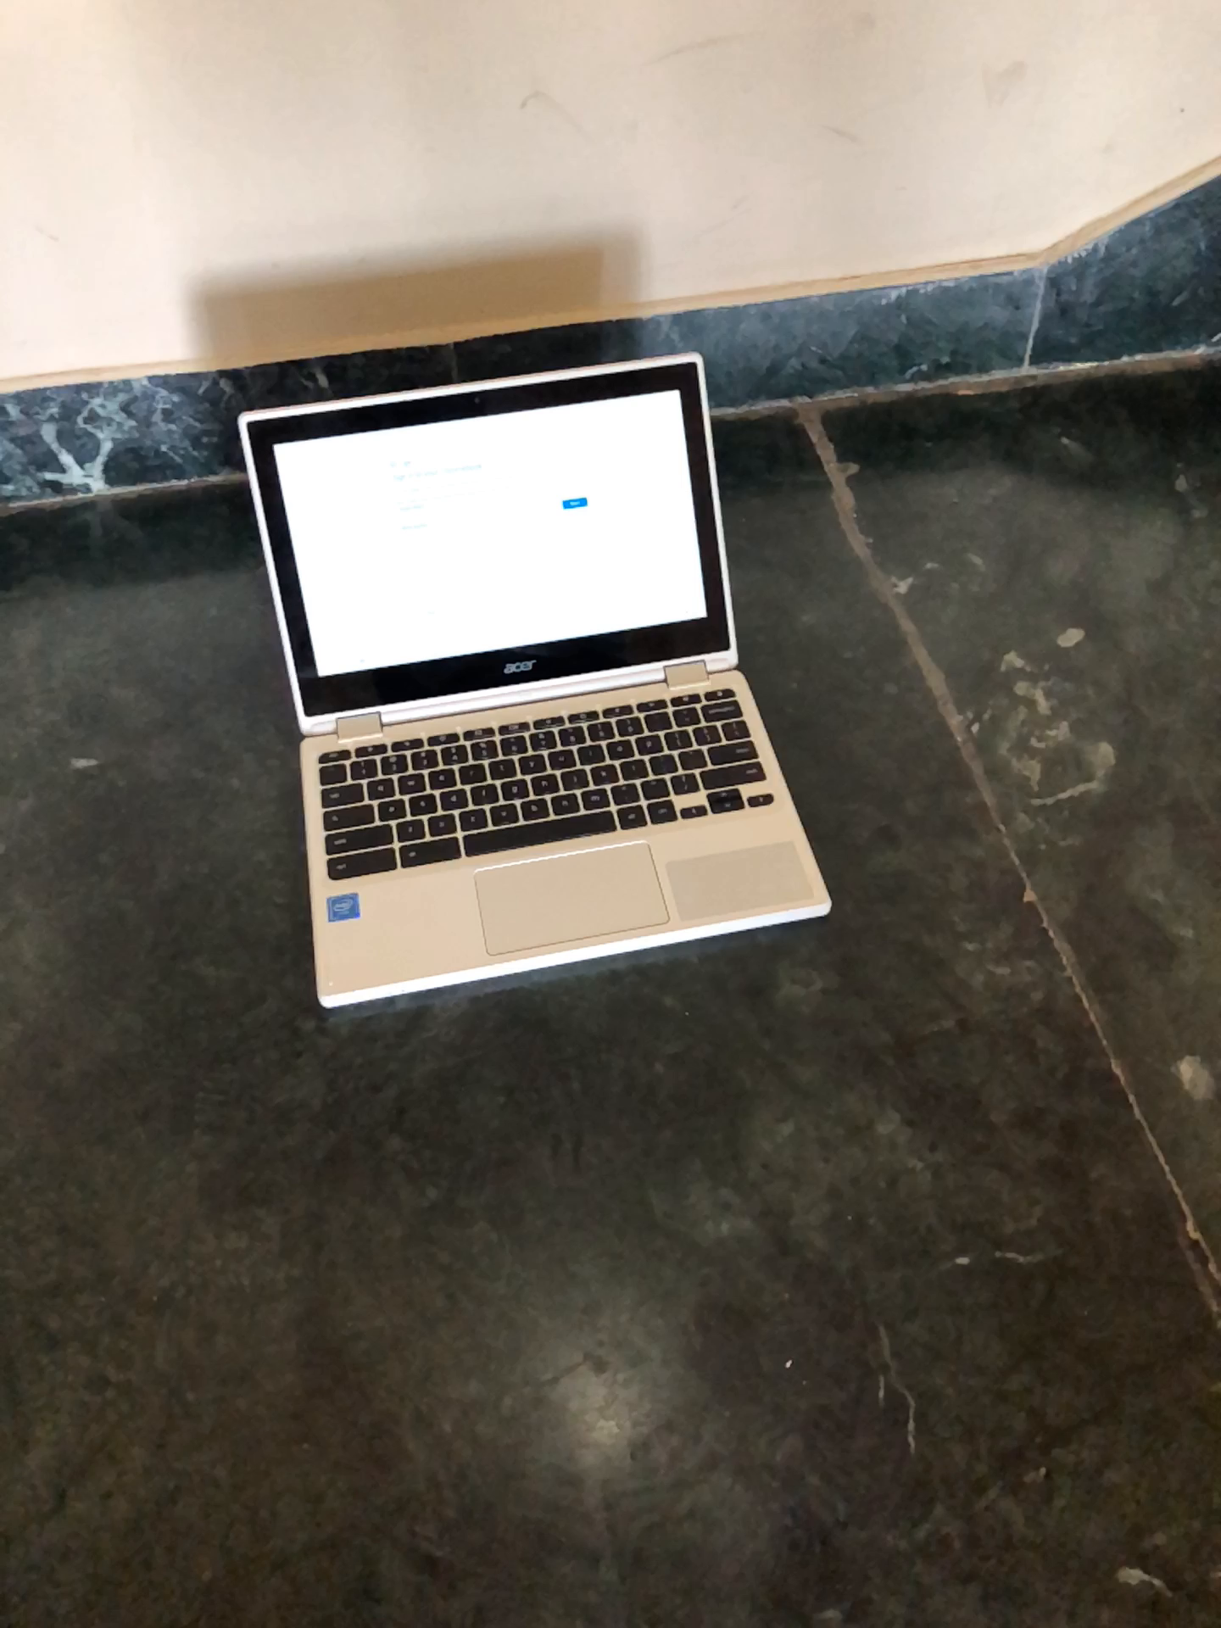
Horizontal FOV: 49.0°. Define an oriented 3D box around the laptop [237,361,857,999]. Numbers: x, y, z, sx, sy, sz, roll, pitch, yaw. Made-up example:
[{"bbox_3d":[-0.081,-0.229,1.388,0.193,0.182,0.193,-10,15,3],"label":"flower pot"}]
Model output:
[{"bbox_3d":[-0.051,-0.091,0.774,0.281,0.156,0.315,-10,50,-7],"label":"laptop"}]
